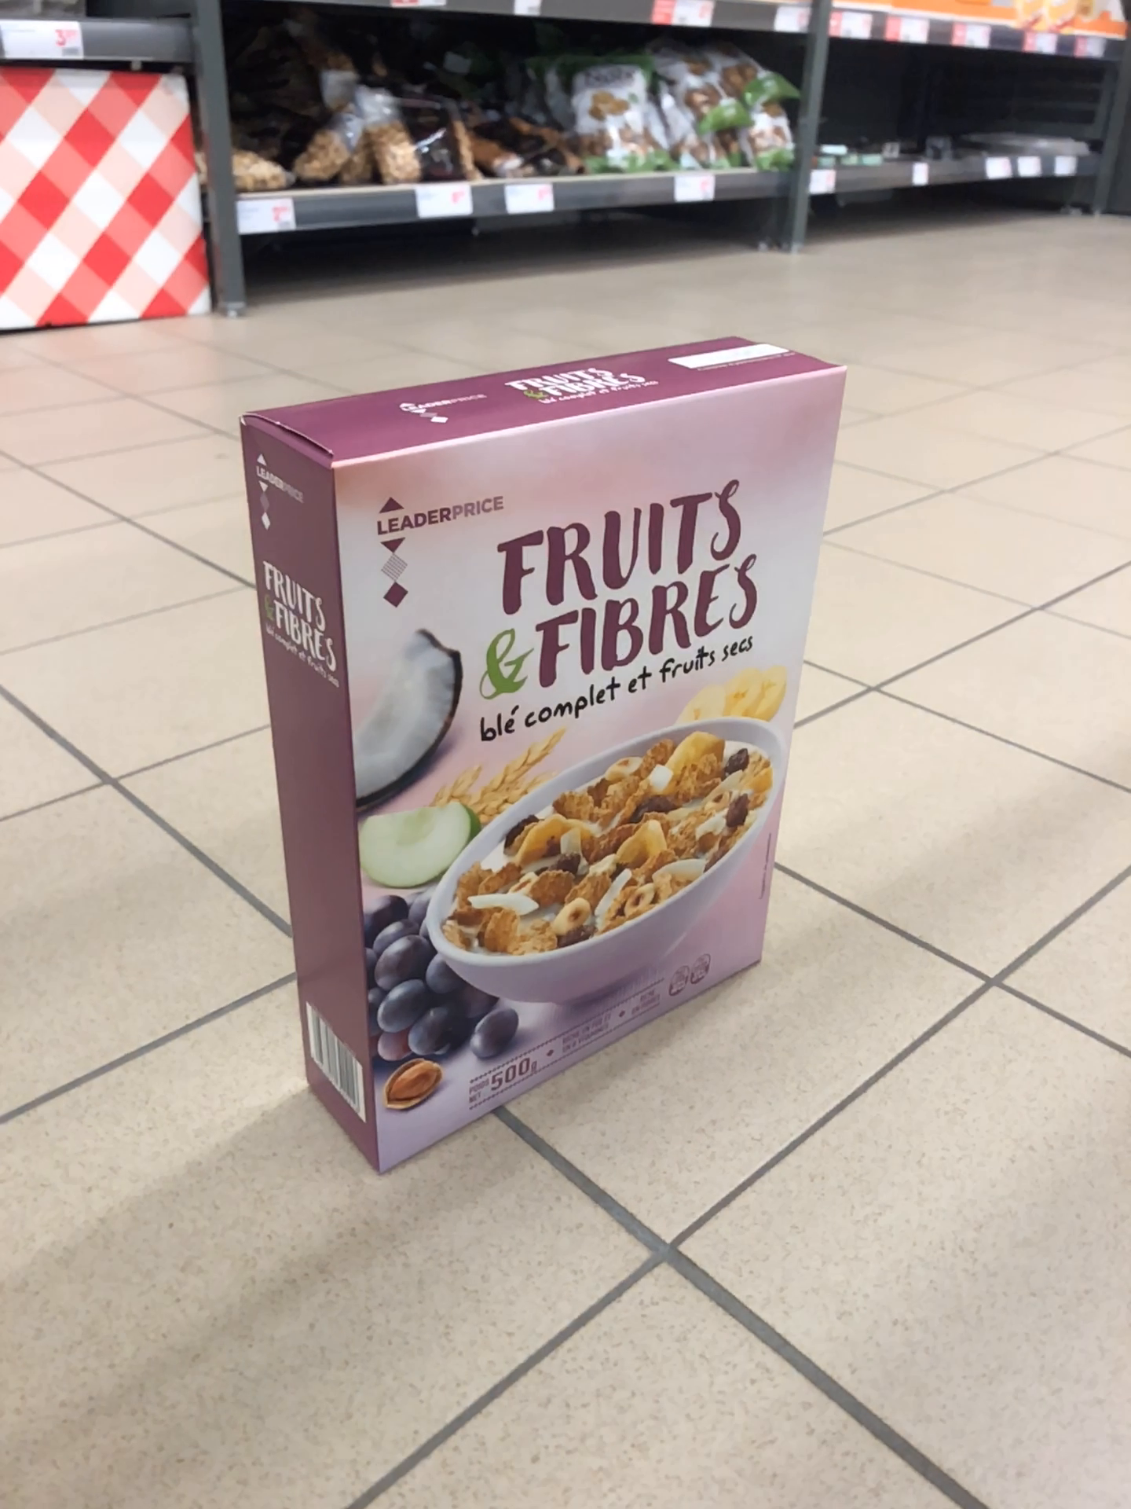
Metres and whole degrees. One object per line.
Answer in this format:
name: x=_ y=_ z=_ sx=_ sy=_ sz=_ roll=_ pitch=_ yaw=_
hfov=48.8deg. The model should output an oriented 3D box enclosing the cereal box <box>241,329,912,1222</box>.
cereal box: x=0.011 y=0.001 z=0.435 sx=0.211 sy=0.259 sz=0.060 roll=-20 pitch=34 yaw=-34
